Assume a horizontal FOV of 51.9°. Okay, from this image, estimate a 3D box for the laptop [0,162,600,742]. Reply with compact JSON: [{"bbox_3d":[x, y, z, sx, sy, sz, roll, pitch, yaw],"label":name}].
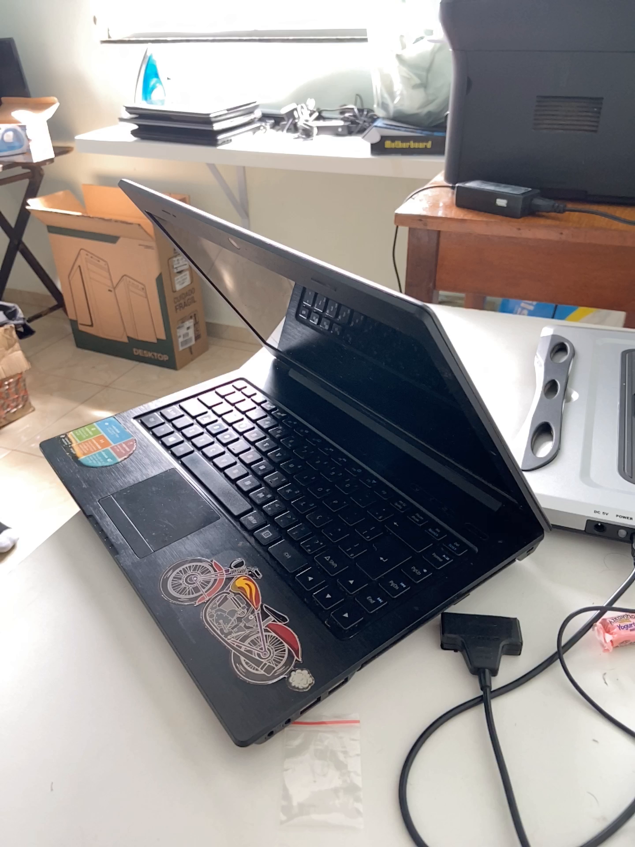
[{"bbox_3d":[-0.045,-0.036,0.438,0.233,0.189,0.331,-23,37,-29],"label":"laptop"}]
